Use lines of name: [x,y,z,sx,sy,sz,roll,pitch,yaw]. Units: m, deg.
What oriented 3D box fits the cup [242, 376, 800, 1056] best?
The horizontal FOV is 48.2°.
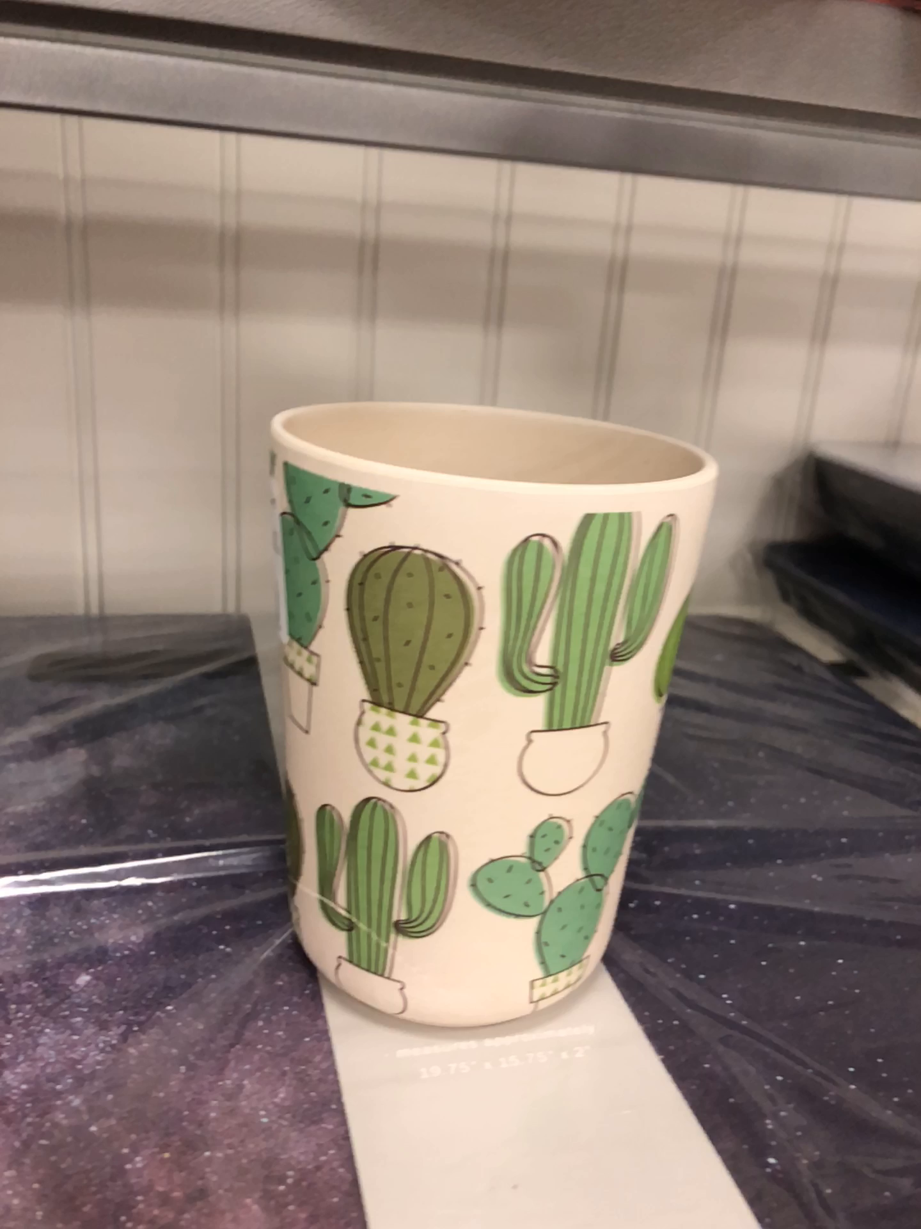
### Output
cup: [0.007,0.018,0.249,0.100,0.129,0.091,4,20,-1]
